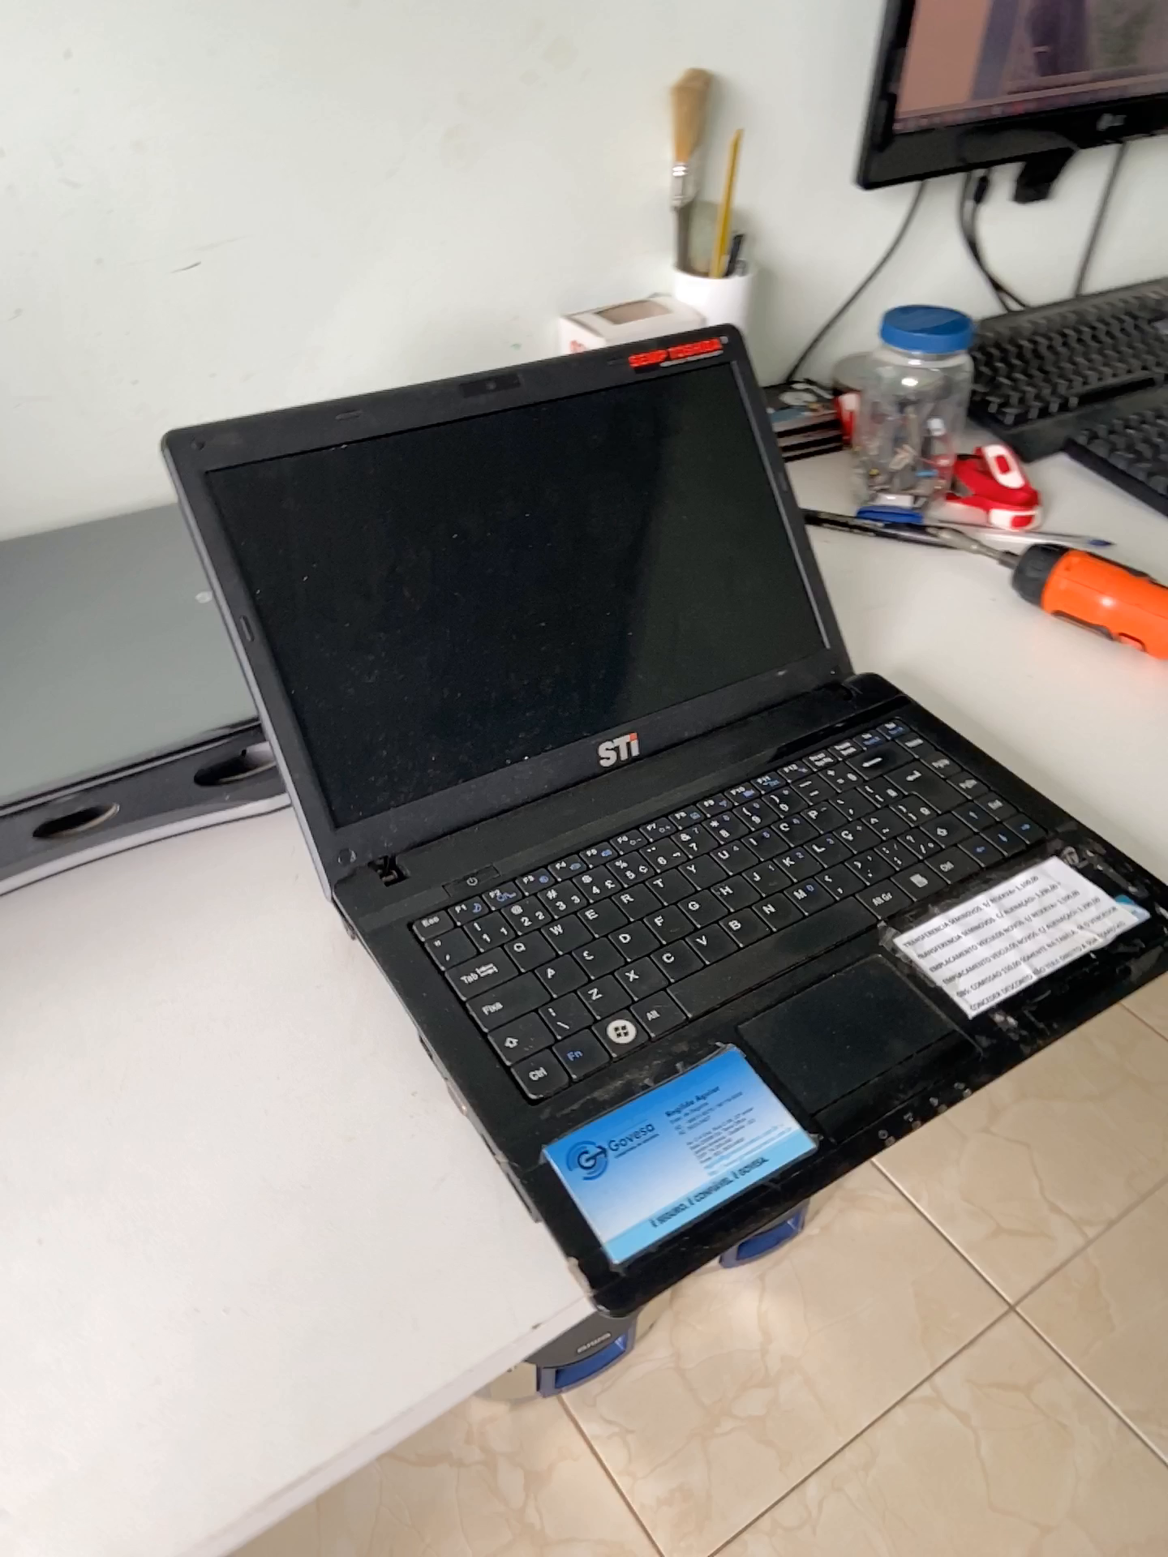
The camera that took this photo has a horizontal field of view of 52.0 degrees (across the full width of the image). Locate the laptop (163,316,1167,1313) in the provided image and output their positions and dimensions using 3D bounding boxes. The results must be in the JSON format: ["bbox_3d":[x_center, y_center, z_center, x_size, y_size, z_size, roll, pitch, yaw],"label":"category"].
[{"bbox_3d":[0.050,-0.045,0.547,0.335,0.159,0.386,-21,45,-26],"label":"laptop"}]
